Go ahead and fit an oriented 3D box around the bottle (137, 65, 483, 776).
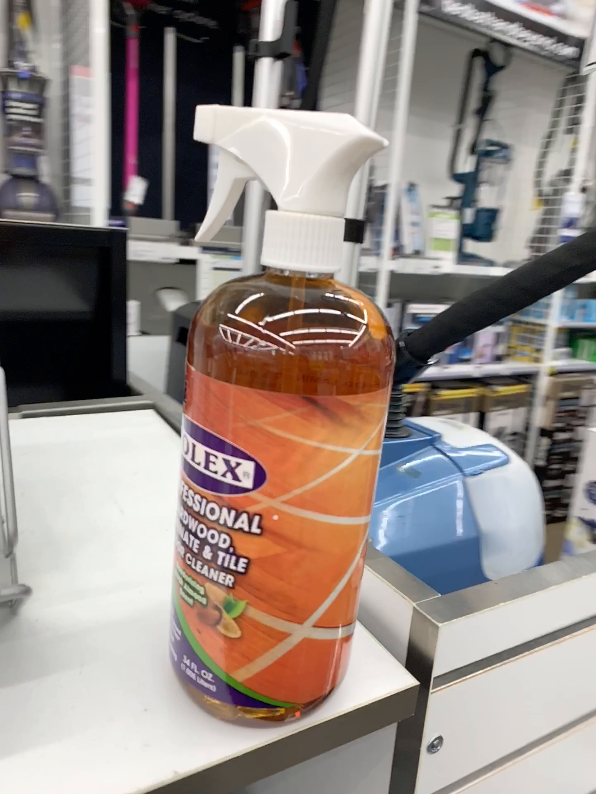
[{"bbox_3d":[-0.005,0.008,0.272,0.090,0.249,0.100,-7,17,-39],"label":"bottle"}]
